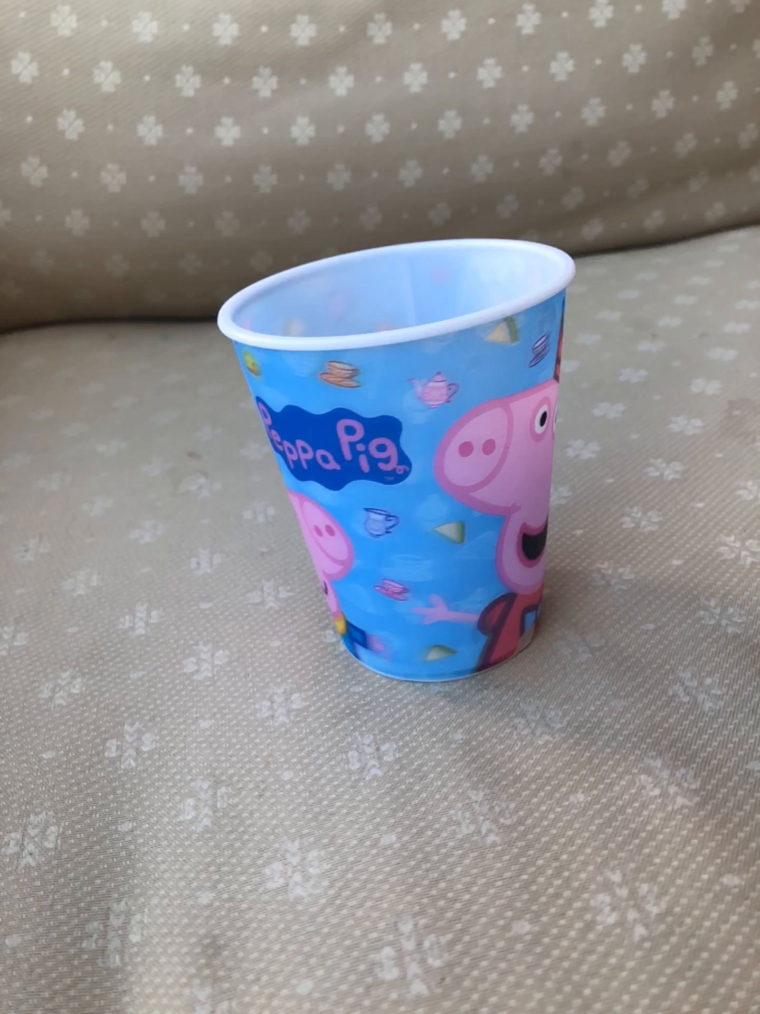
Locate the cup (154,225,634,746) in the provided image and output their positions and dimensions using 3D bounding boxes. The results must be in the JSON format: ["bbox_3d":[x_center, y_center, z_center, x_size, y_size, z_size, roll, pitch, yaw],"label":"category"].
[{"bbox_3d":[0.010,-0.015,0.241,0.087,0.100,0.092,-4,30,2],"label":"cup"}]
